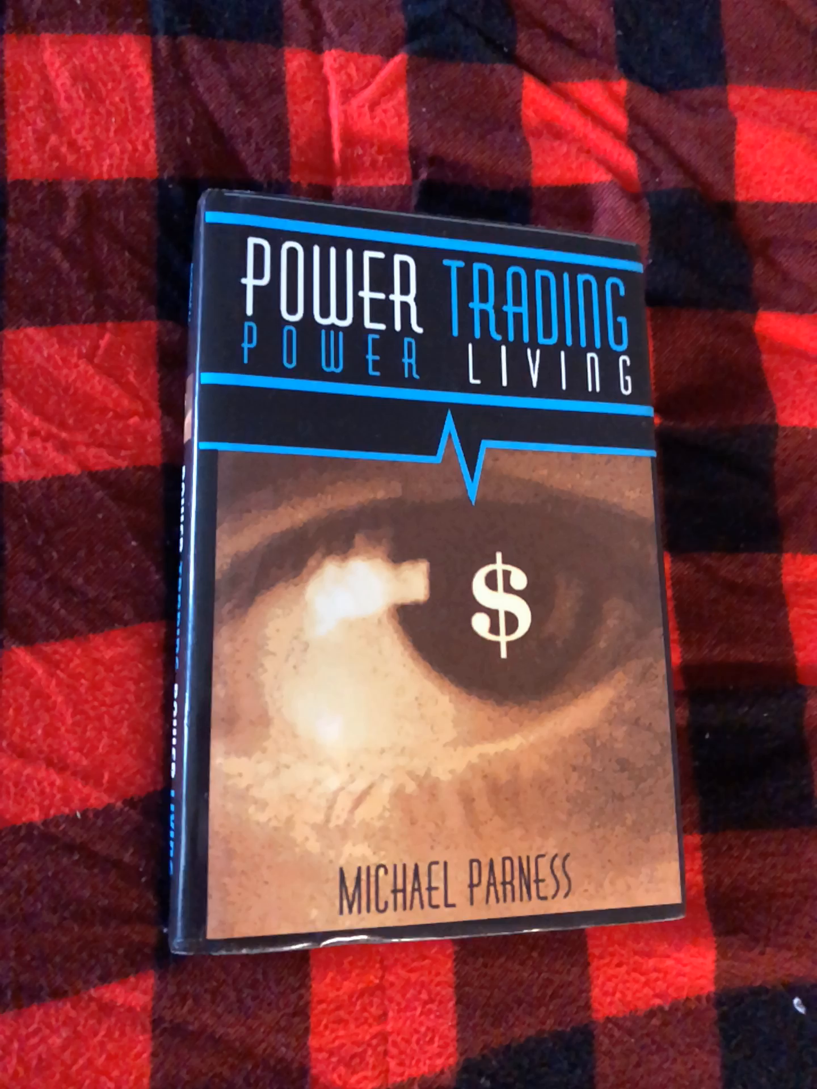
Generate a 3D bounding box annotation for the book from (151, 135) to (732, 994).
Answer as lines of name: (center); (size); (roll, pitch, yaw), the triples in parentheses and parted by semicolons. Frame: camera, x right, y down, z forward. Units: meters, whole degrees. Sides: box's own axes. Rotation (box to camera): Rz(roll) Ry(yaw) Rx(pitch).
book: (0.010, 0.002, 0.290); (0.170, 0.040, 0.240); (2, 80, -15)
